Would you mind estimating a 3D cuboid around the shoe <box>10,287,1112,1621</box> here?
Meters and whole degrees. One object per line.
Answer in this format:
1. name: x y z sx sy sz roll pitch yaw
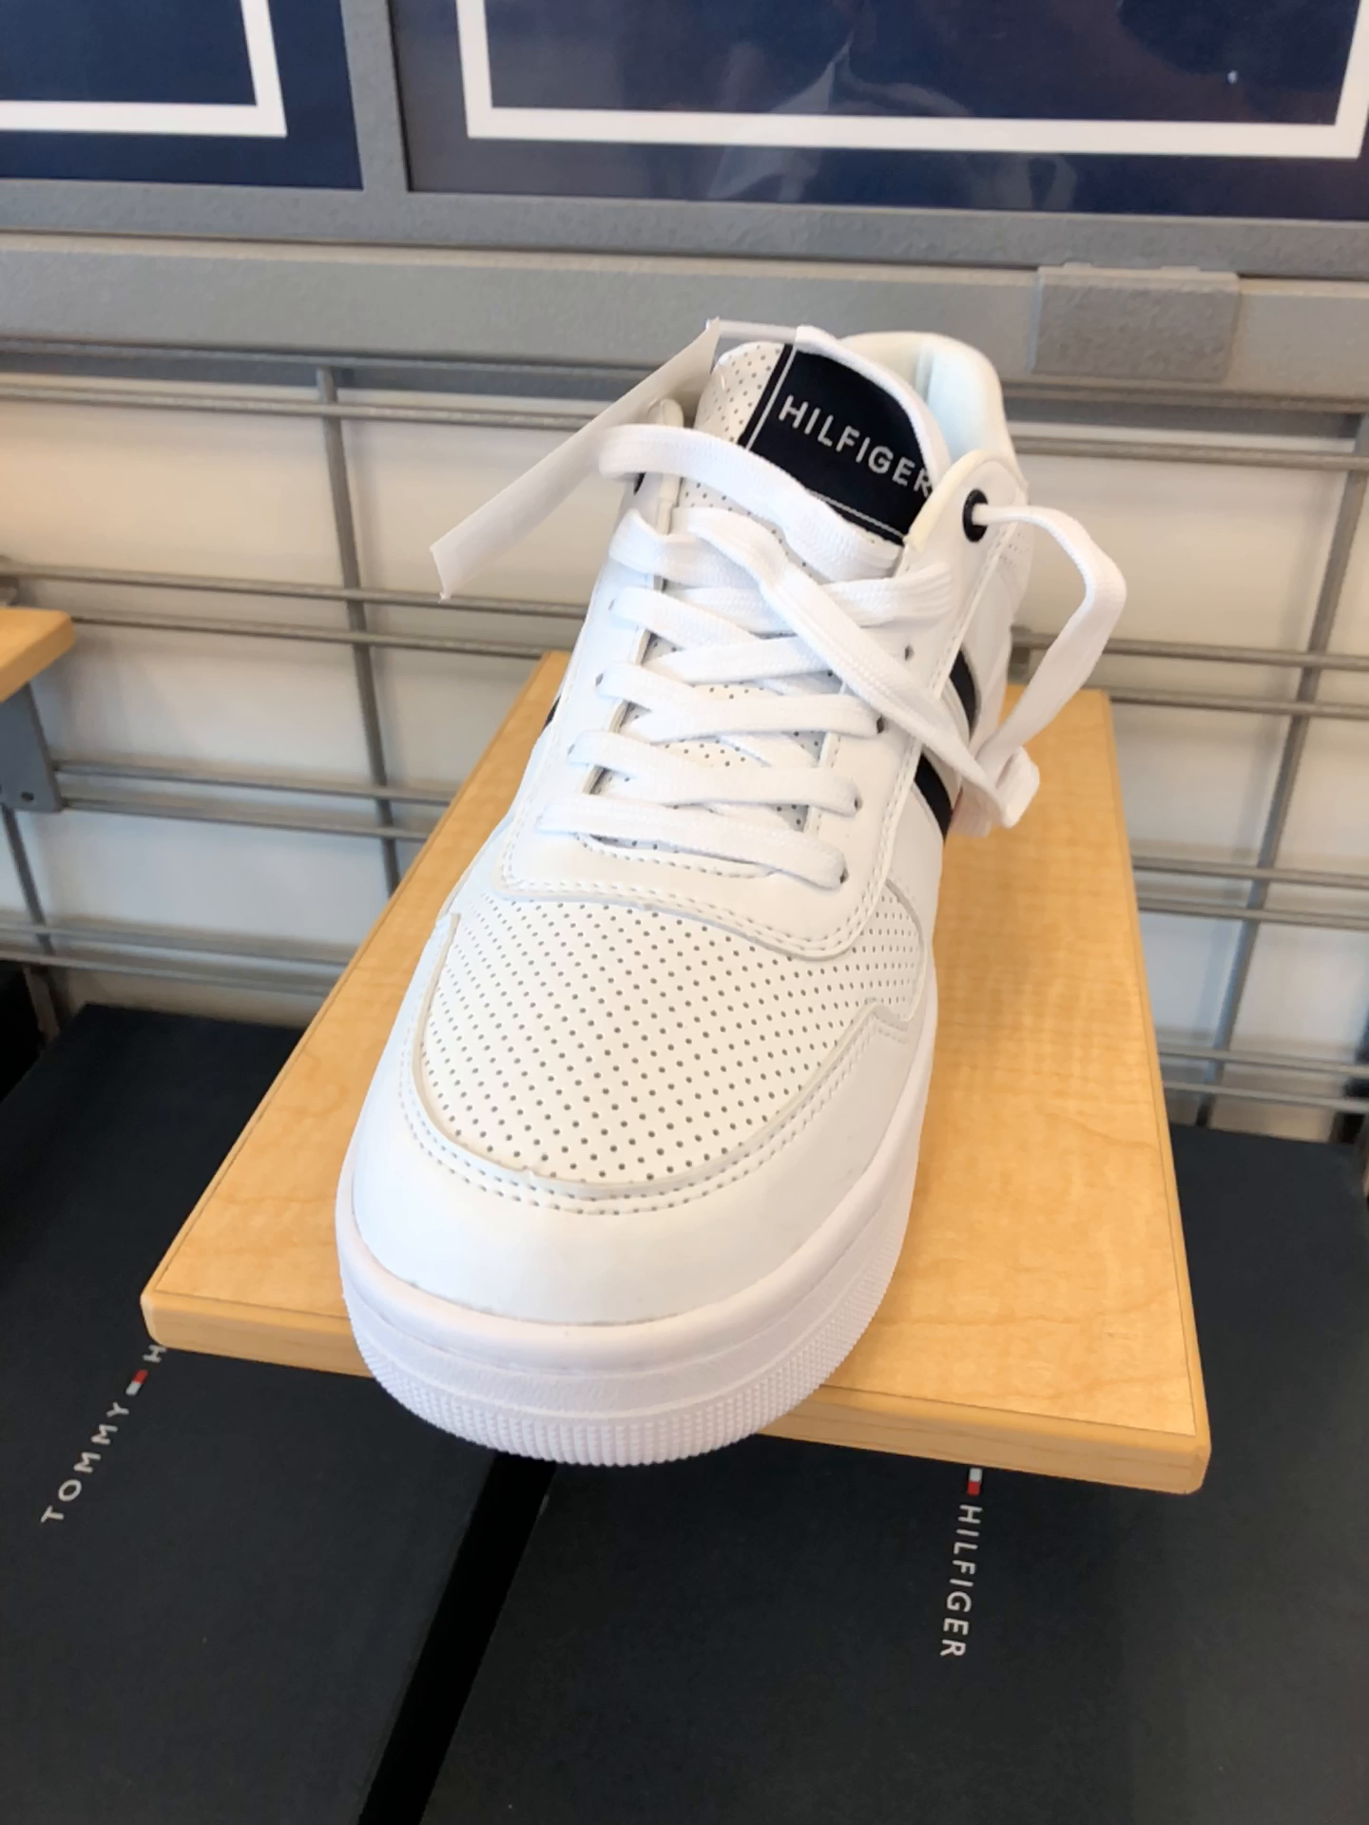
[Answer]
1. shoe: 0.015 -0.034 0.302 0.107 0.113 0.282 9 34 13
